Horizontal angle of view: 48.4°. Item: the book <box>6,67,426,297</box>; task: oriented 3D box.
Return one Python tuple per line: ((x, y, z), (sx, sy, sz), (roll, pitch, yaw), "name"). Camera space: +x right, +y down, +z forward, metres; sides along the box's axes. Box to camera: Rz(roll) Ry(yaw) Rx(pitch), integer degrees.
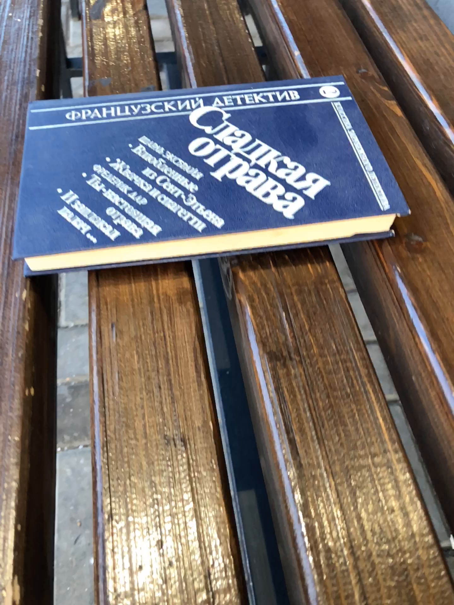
((-0.012, -0.079, 0.301), (0.211, 0.030, 0.133), (-7, 56, -5), "book")
